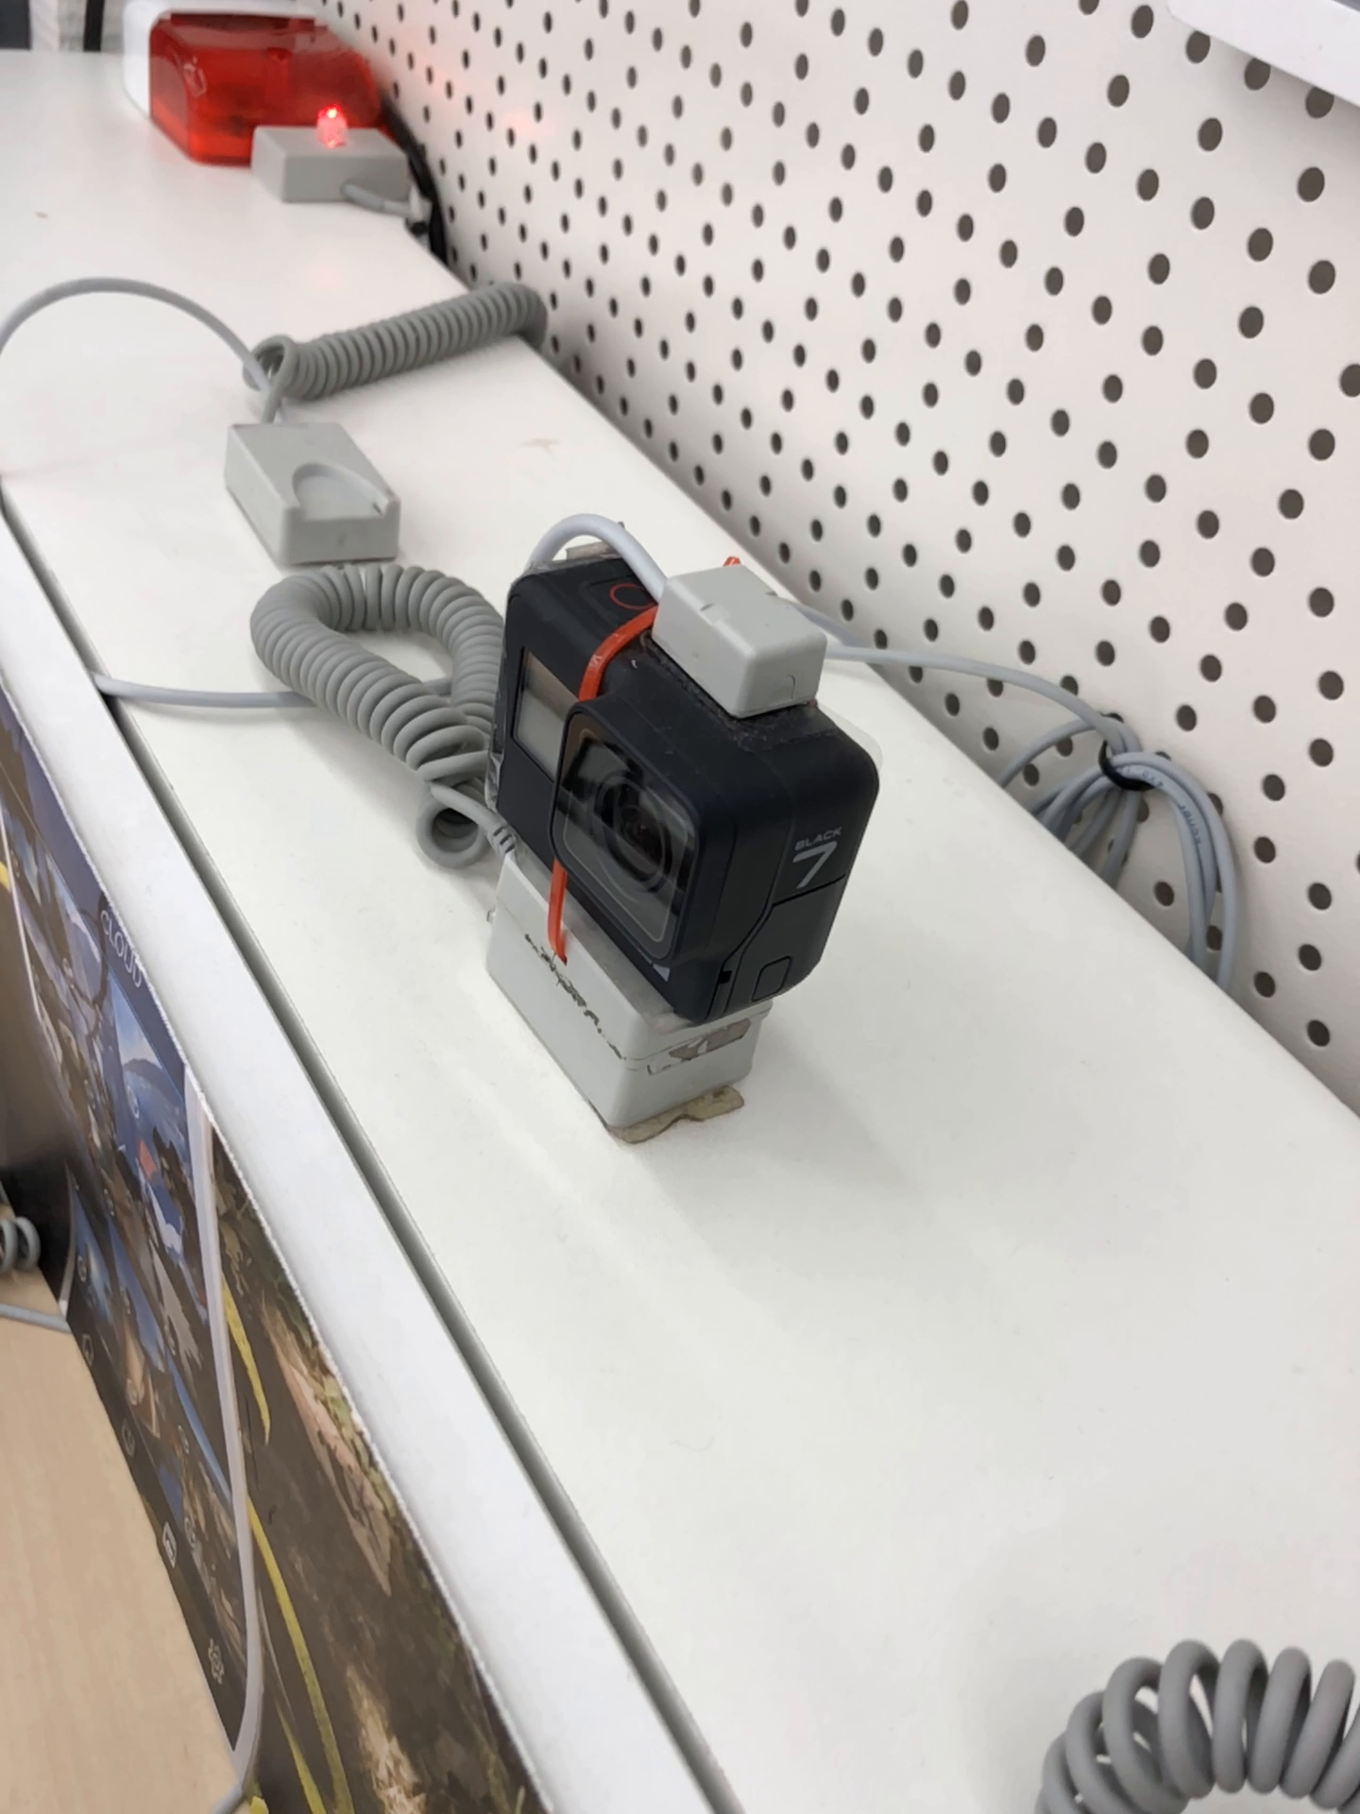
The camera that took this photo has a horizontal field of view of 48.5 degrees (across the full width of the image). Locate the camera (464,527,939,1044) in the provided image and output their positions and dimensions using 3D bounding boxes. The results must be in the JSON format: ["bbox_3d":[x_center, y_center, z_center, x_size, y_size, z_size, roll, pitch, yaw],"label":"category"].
[{"bbox_3d":[0.000,-0.020,0.228,0.032,0.043,0.064,-20,51,-34],"label":"camera"}]
